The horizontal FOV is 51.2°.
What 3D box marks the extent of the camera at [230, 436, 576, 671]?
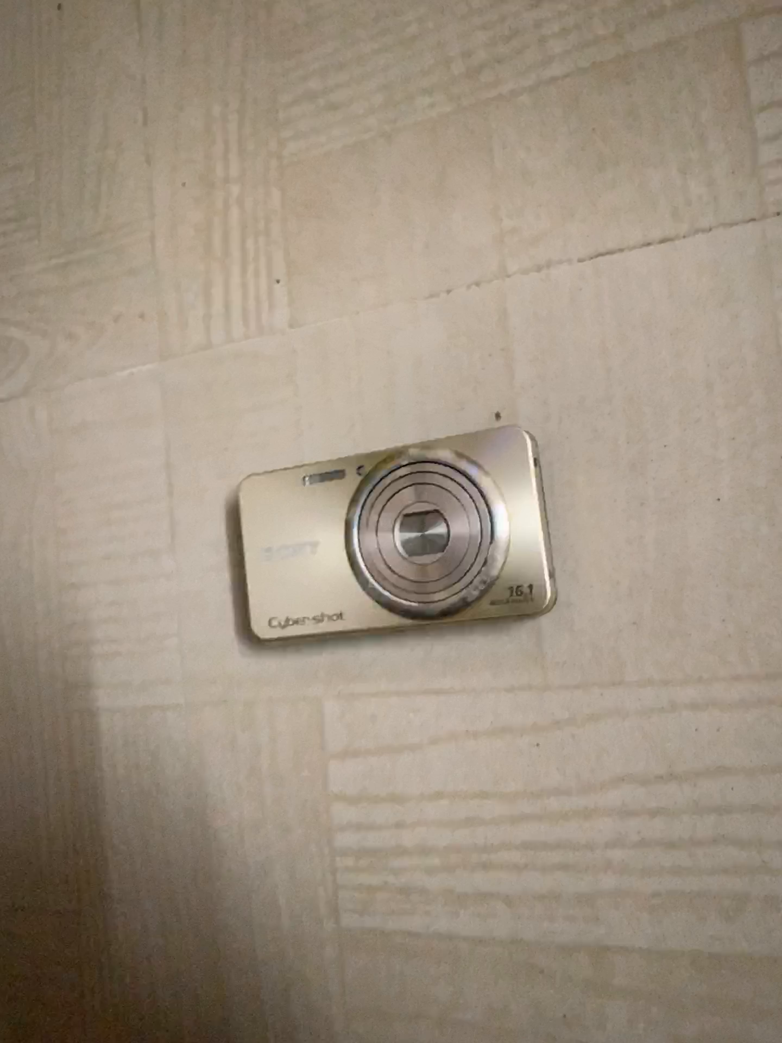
[{"bbox_3d":[0.001,0.012,0.242,0.097,0.019,0.057,-7,84,21],"label":"camera"}]
